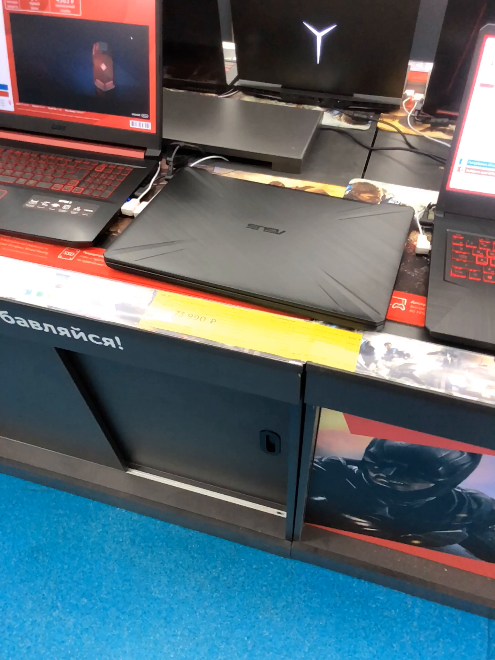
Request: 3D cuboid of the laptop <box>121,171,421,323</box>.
[{"bbox_3d":[0.046,-0.143,0.805,0.385,0.001,0.262,14,46,15],"label":"laptop"}]
